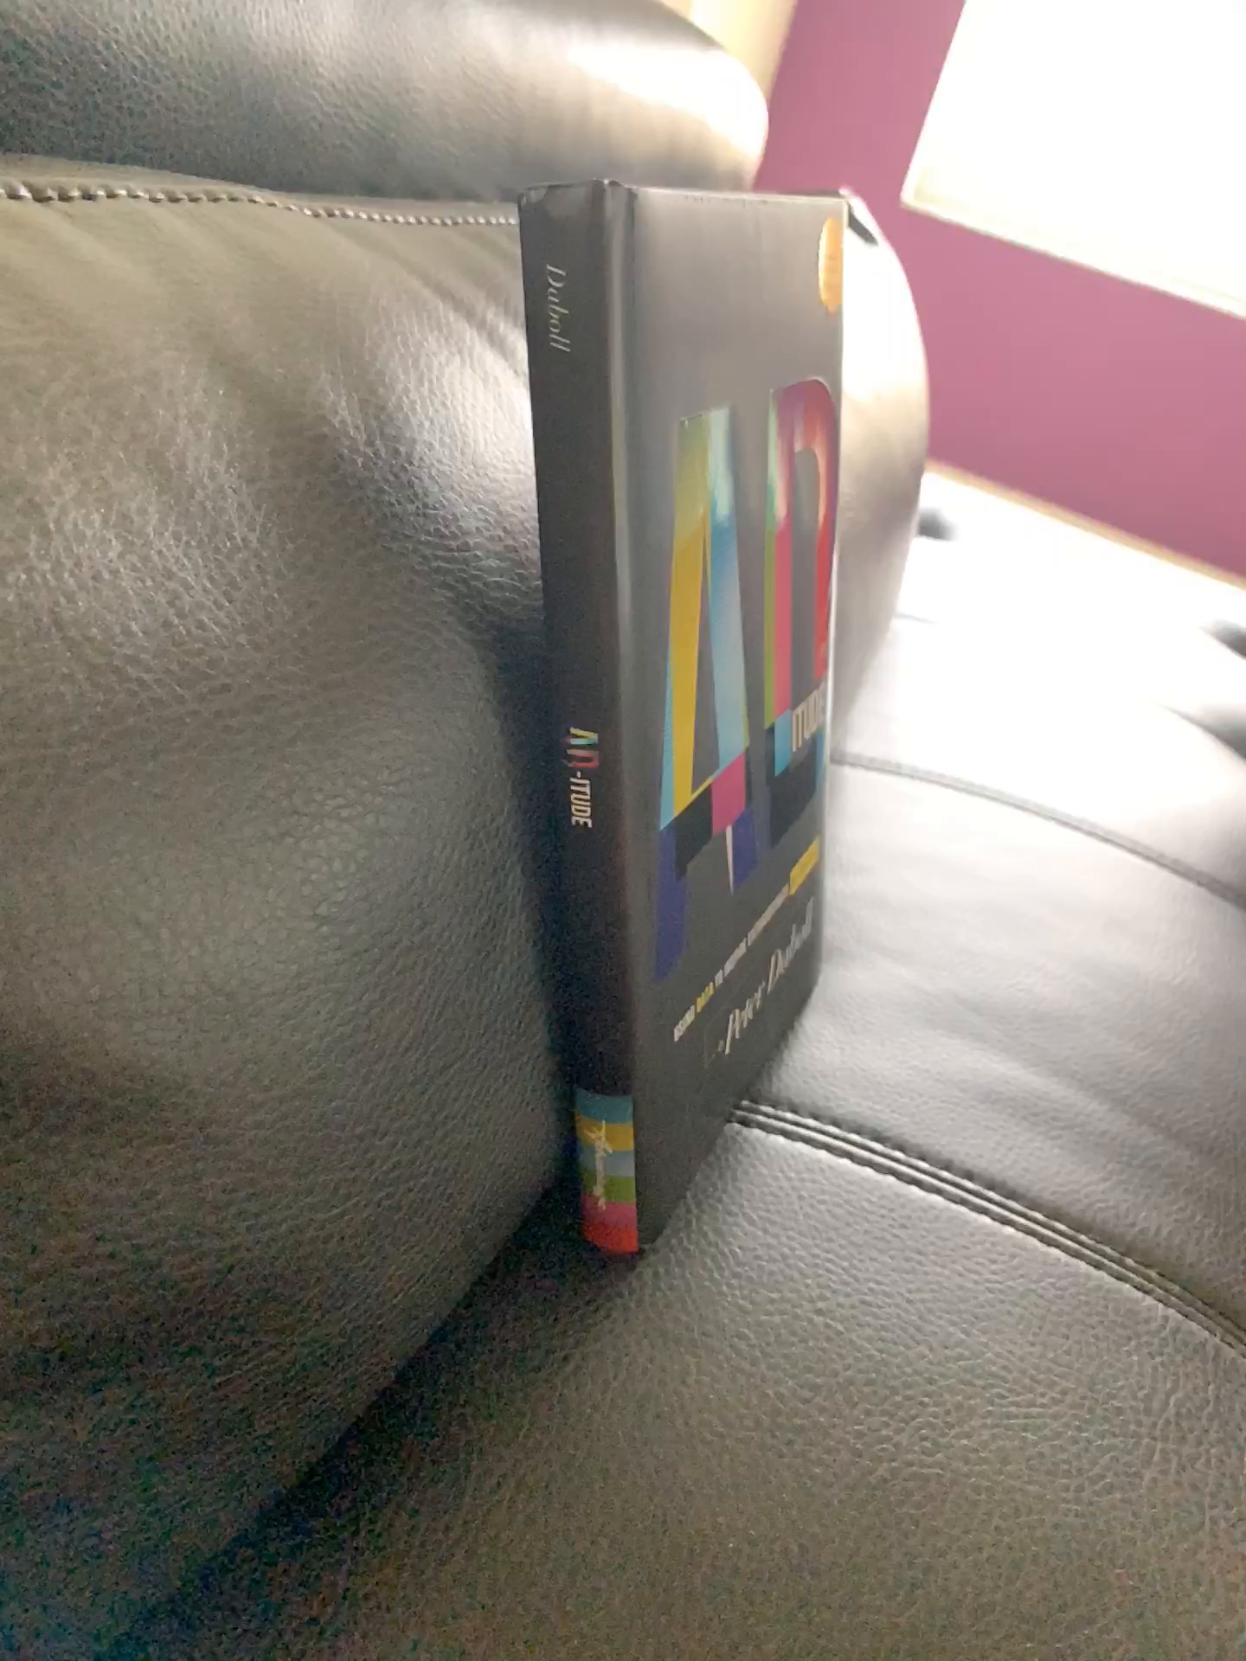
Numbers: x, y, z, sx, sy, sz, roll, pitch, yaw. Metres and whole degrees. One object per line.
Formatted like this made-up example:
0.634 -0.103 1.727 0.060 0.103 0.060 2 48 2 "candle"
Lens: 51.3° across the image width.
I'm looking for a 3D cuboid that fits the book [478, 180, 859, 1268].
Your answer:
0.024 -0.035 0.338 0.025 0.235 0.162 8 26 23 "book"
